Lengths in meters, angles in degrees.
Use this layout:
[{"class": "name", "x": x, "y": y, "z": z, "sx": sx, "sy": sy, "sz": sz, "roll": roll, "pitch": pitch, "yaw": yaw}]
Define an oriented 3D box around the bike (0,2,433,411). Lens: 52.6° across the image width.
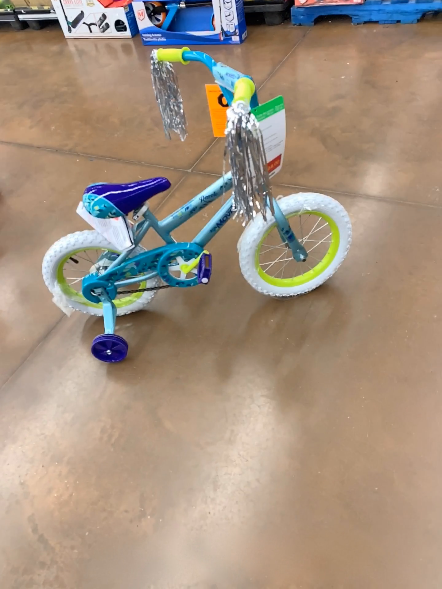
[{"class": "bike", "x": -0.095, "y": -0.217, "z": 1.139, "sx": 0.859, "sy": 0.638, "sz": 0.626, "roll": -13, "pitch": 46, "yaw": 0}]
